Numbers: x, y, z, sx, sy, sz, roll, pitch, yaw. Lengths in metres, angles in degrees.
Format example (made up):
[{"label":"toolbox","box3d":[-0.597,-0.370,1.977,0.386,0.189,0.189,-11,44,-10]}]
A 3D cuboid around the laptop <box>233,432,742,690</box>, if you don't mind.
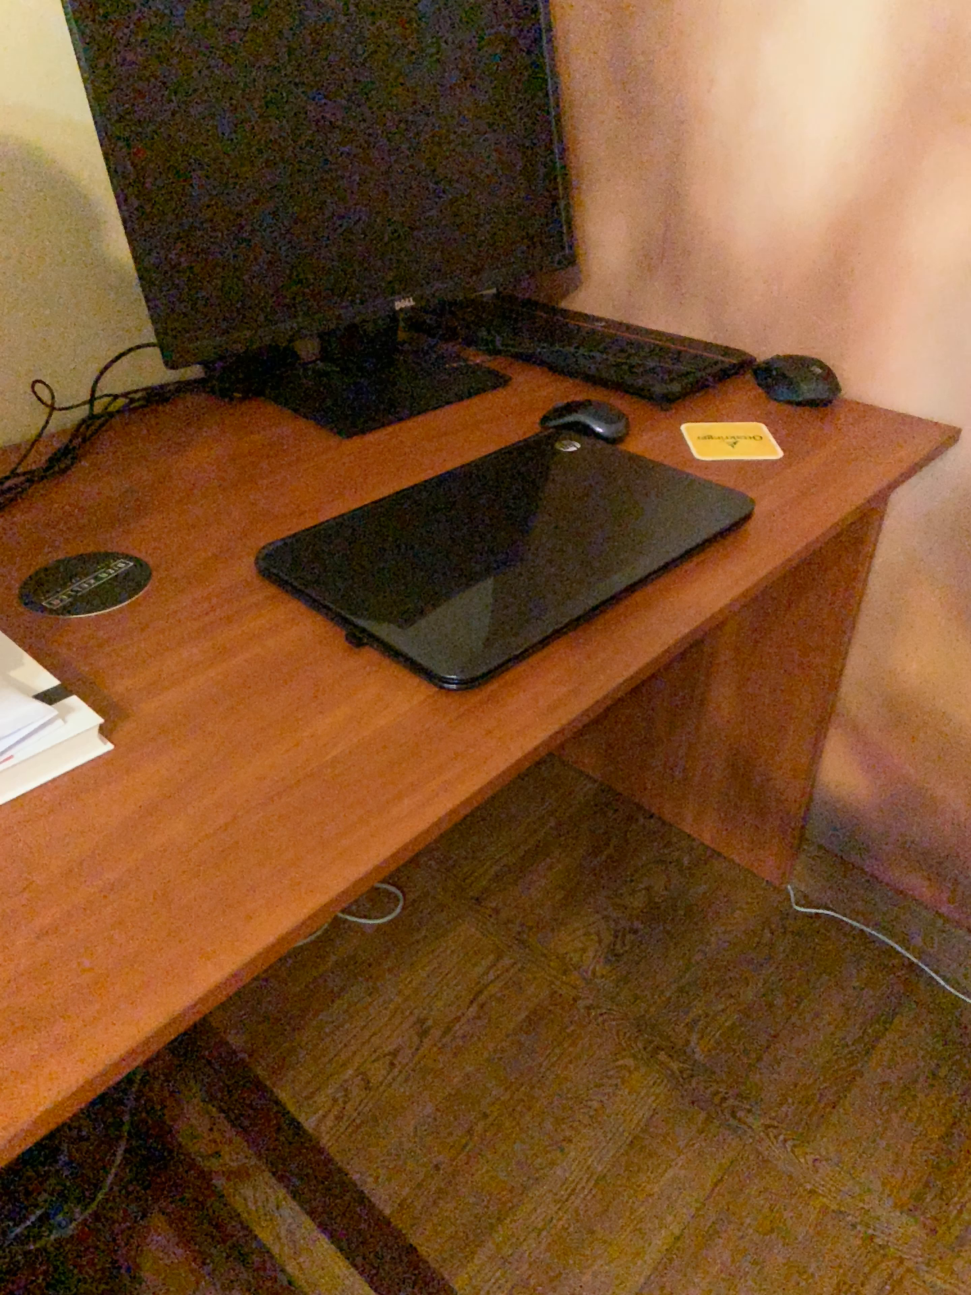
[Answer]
[{"label":"laptop","box3d":[0.012,-0.099,0.861,0.243,0.001,0.383,30,45,35]}]
